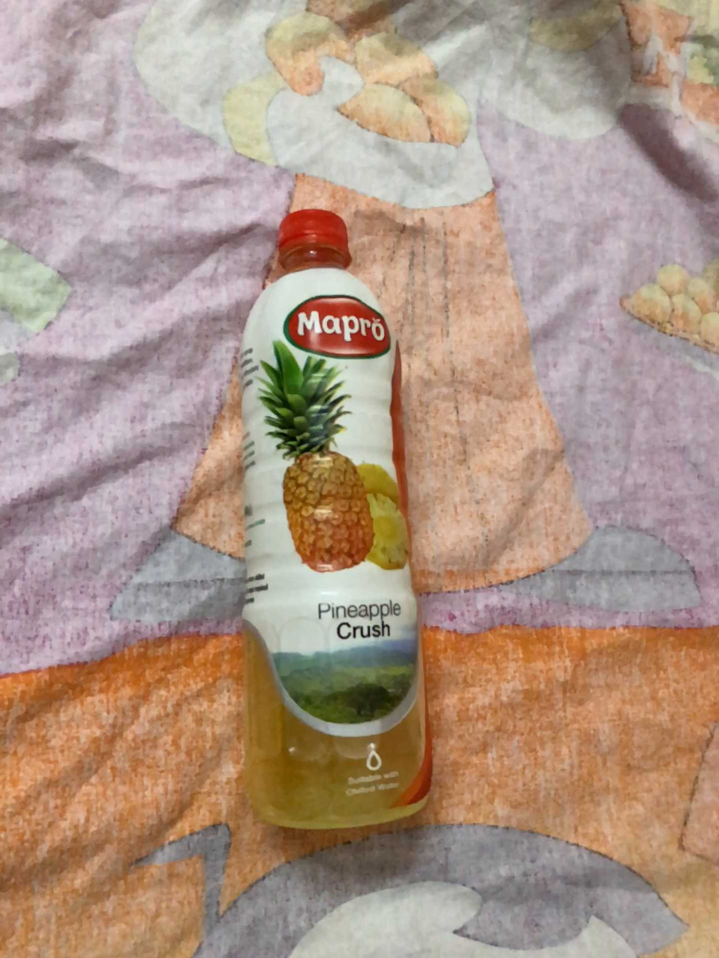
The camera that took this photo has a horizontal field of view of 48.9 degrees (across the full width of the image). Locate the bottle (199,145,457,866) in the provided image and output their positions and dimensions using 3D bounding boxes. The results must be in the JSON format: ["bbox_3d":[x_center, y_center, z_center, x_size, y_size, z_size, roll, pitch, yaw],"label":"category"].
[{"bbox_3d":[-0.018,0.006,0.314,0.080,0.060,0.250,1,81,-21],"label":"bottle"}]
